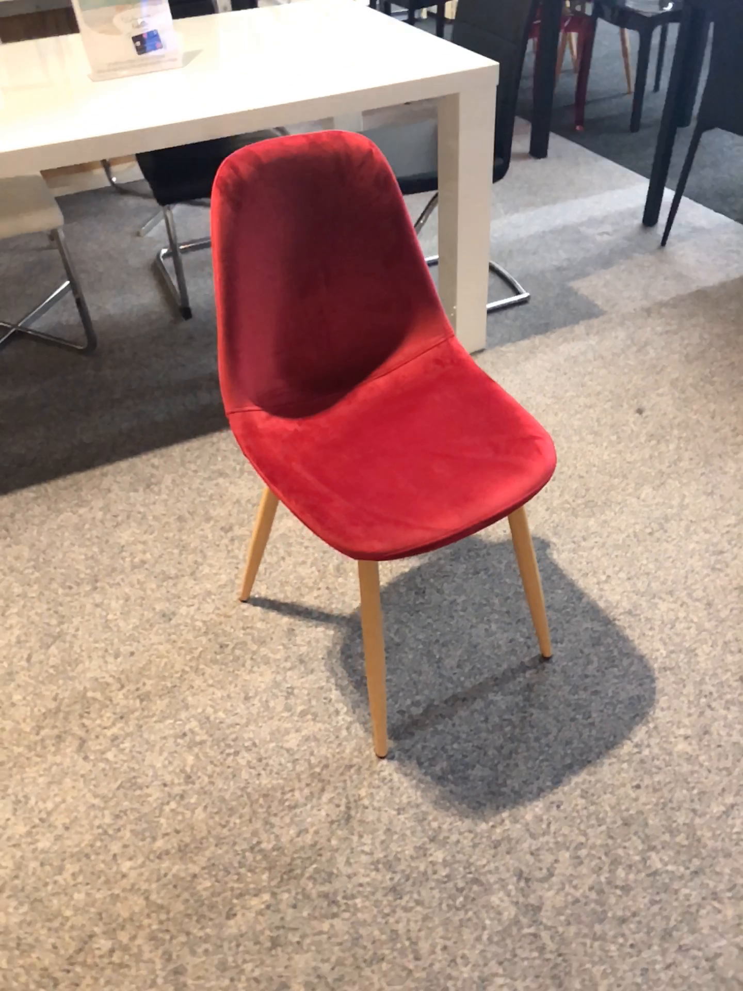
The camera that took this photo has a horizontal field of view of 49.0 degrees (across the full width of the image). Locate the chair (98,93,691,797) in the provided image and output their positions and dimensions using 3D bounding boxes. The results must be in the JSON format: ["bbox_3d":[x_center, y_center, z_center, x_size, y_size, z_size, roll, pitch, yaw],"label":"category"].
[{"bbox_3d":[0.015,-0.086,1.286,0.532,0.815,0.551,-23,45,-22],"label":"chair"}]
